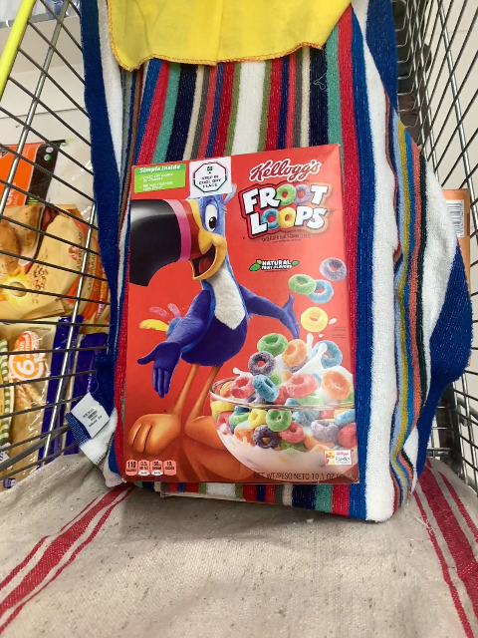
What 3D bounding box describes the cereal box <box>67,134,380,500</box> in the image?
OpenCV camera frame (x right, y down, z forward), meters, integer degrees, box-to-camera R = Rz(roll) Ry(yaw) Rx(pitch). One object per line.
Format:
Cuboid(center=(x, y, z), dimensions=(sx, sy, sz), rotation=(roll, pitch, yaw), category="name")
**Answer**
Cuboid(center=(-0.012, 0.000, 0.375), dimensions=(0.210, 0.060, 0.250), rotation=(-3, 78, 11), category="cereal box")
